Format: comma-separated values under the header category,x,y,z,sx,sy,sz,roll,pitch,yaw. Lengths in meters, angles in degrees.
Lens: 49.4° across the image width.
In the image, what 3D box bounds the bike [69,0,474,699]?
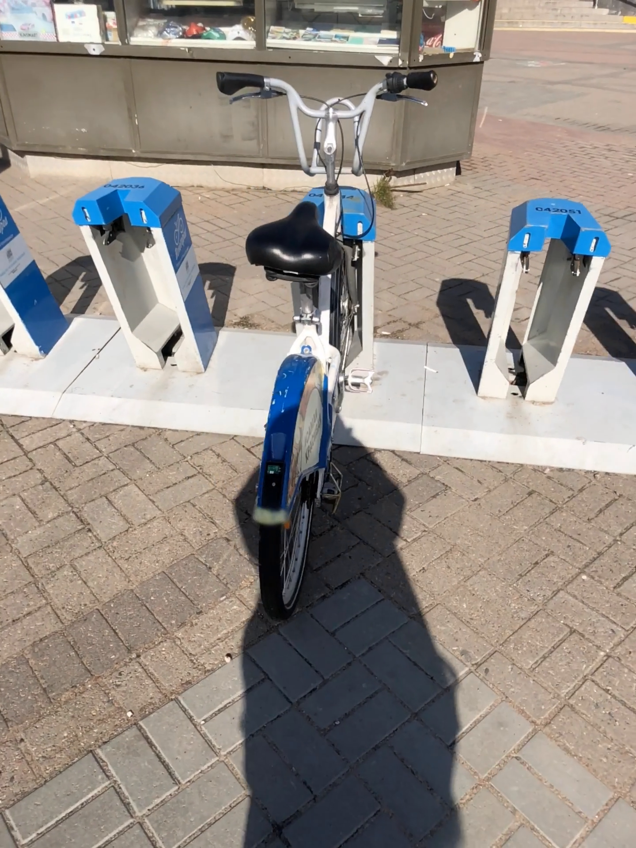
category,x,y,z,sx,sy,sz,roll,pitch,yaw
bike,0.043,-0.400,1.952,0.595,1.203,1.636,5,37,7
